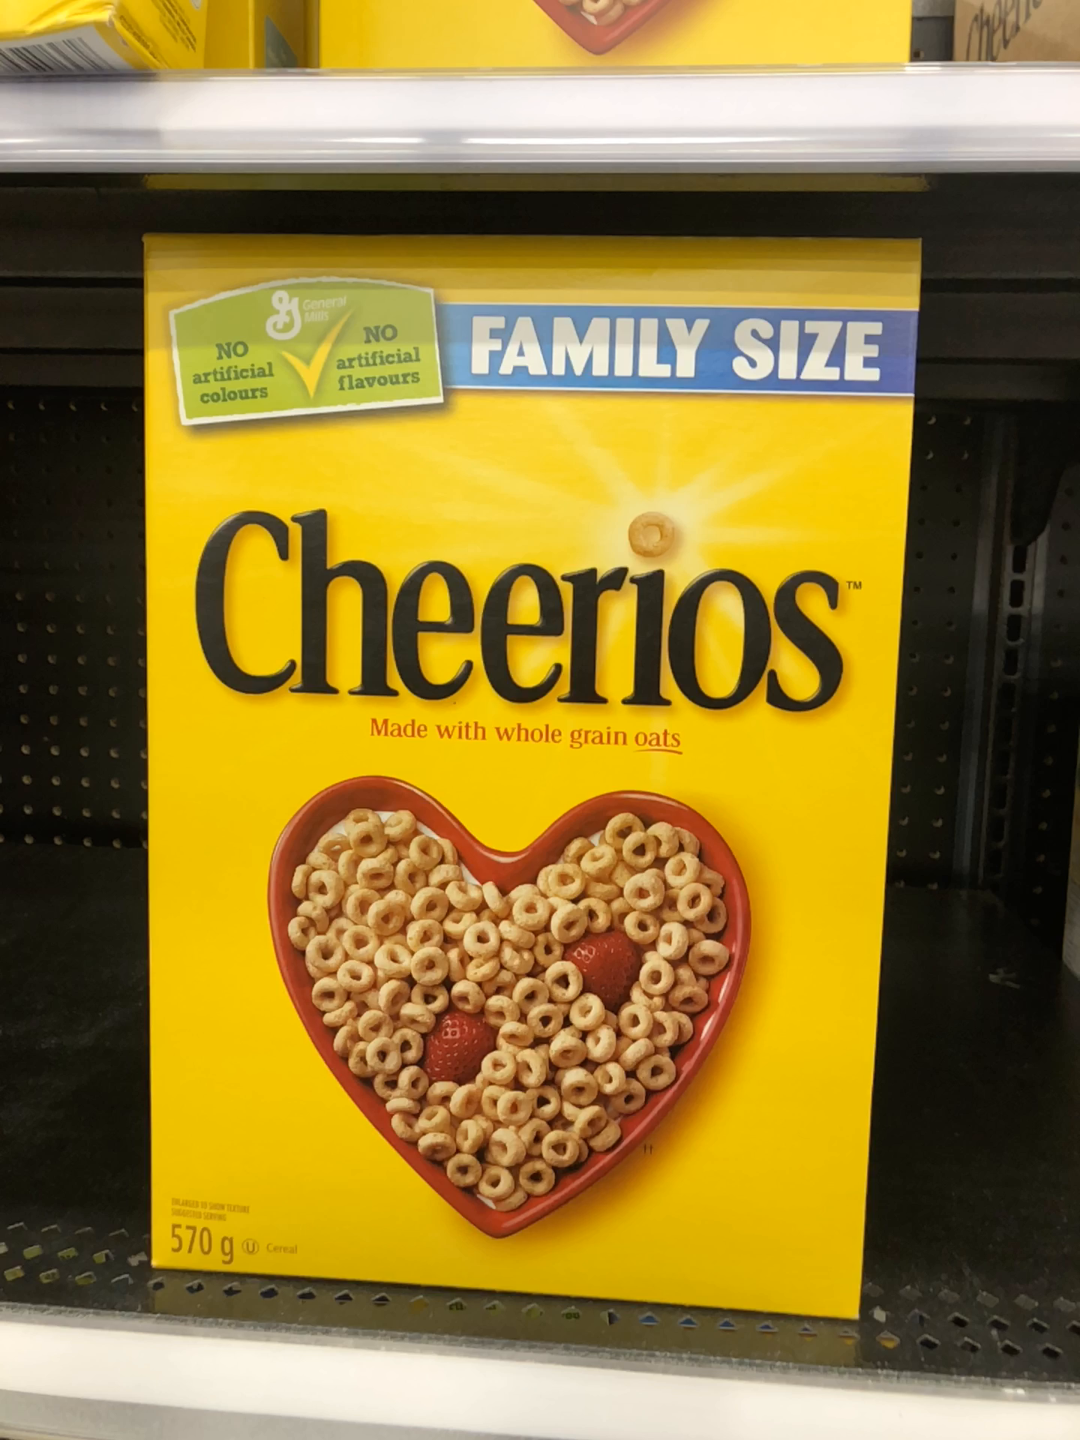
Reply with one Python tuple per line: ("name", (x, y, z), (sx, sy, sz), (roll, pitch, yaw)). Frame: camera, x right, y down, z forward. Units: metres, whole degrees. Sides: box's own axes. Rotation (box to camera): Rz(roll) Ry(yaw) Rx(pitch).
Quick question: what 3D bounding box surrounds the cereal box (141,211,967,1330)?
("cereal box", (-0.002, 0.016, 0.413), (0.240, 0.339, 0.090), (3, 8, 3))
